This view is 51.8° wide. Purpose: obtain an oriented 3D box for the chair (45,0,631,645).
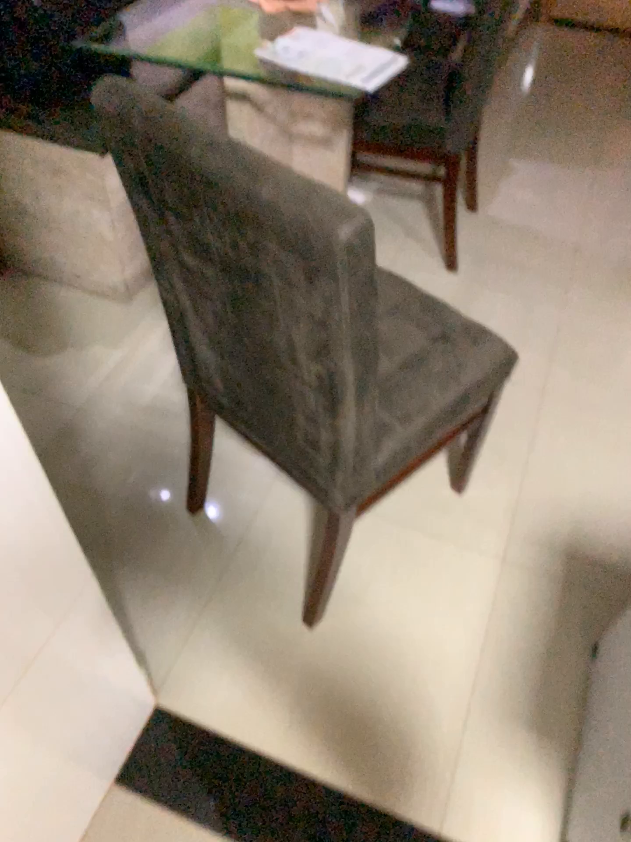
[{"bbox_3d":[0.029,-0.156,1.228,0.542,0.972,0.573,37,58,26],"label":"chair"}]
